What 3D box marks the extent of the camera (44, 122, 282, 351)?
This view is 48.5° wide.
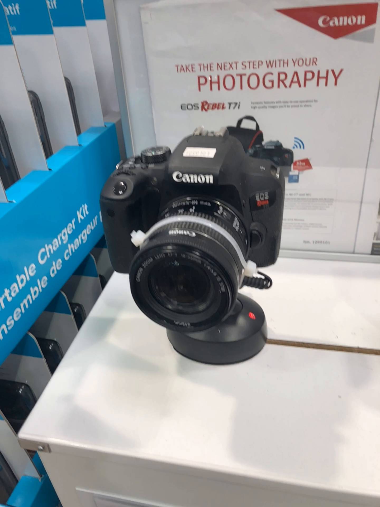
[{"bbox_3d":[-0.002,-0.025,0.314,0.130,0.100,0.150,3,34,11],"label":"camera"}]
